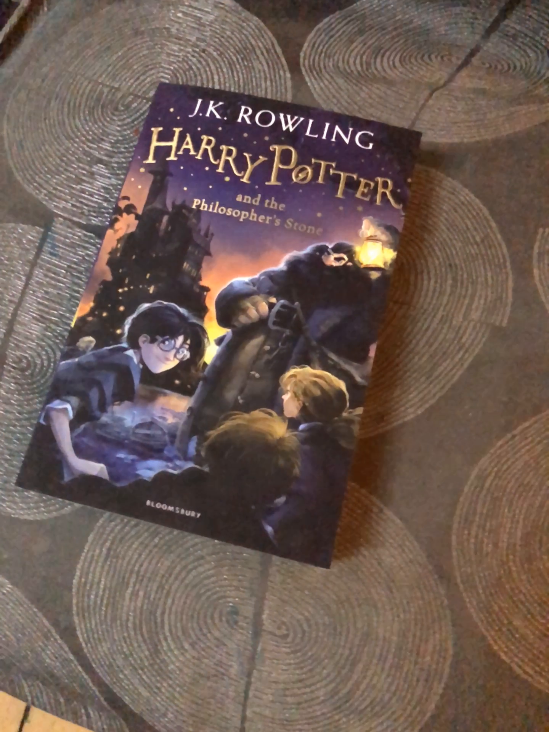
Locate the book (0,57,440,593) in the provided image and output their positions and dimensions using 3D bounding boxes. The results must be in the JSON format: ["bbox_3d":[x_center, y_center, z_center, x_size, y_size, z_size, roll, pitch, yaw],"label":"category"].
[{"bbox_3d":[-0.015,-0.024,0.275,0.140,0.040,0.210,14,74,-2],"label":"book"}]
